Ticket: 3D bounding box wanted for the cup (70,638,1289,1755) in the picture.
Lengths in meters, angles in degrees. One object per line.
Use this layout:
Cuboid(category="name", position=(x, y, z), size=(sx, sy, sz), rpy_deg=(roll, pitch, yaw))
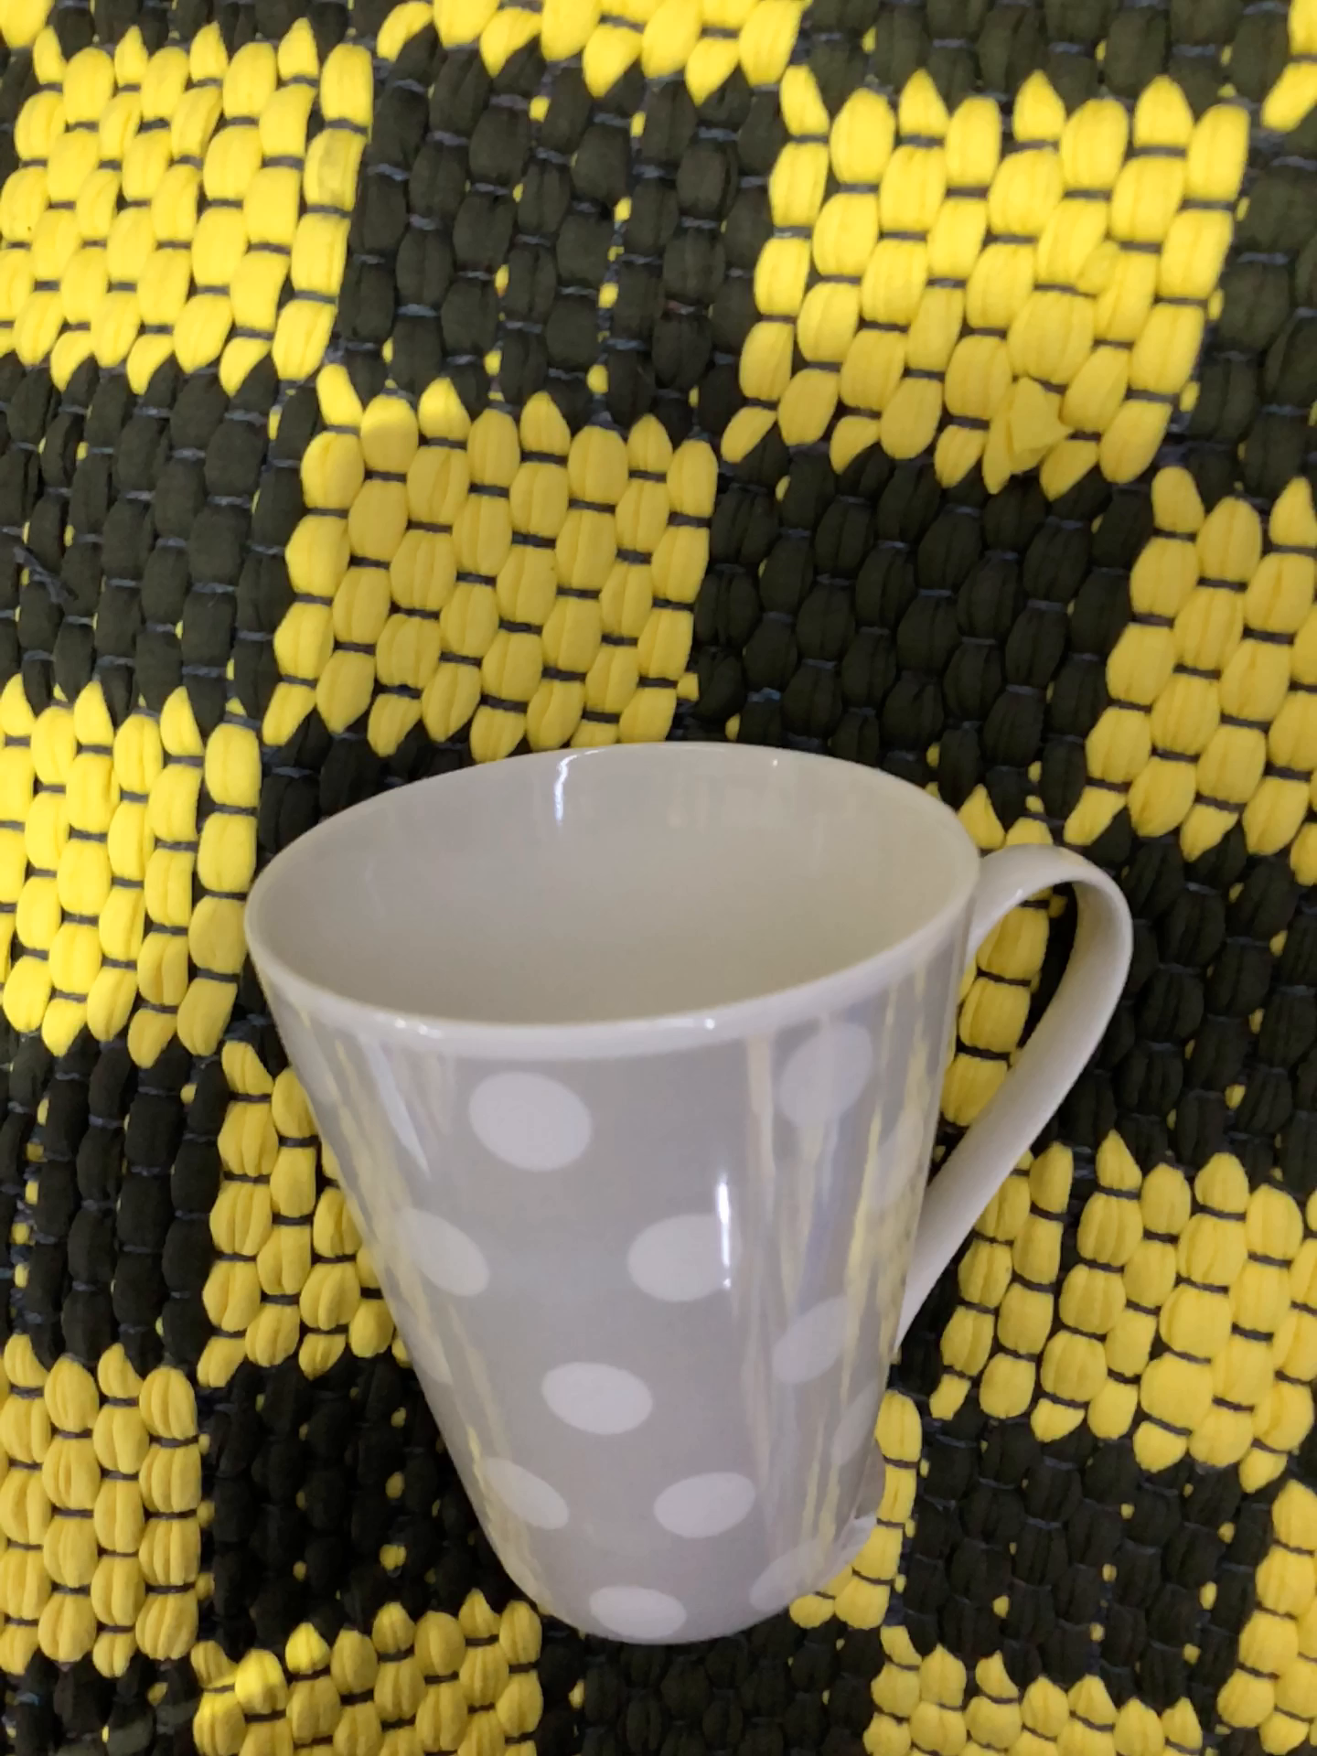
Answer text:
Cuboid(category="cup", position=(0.005, 0.035, 0.199), size=(0.120, 0.090, 0.100), rpy_deg=(-20, 118, -35))
